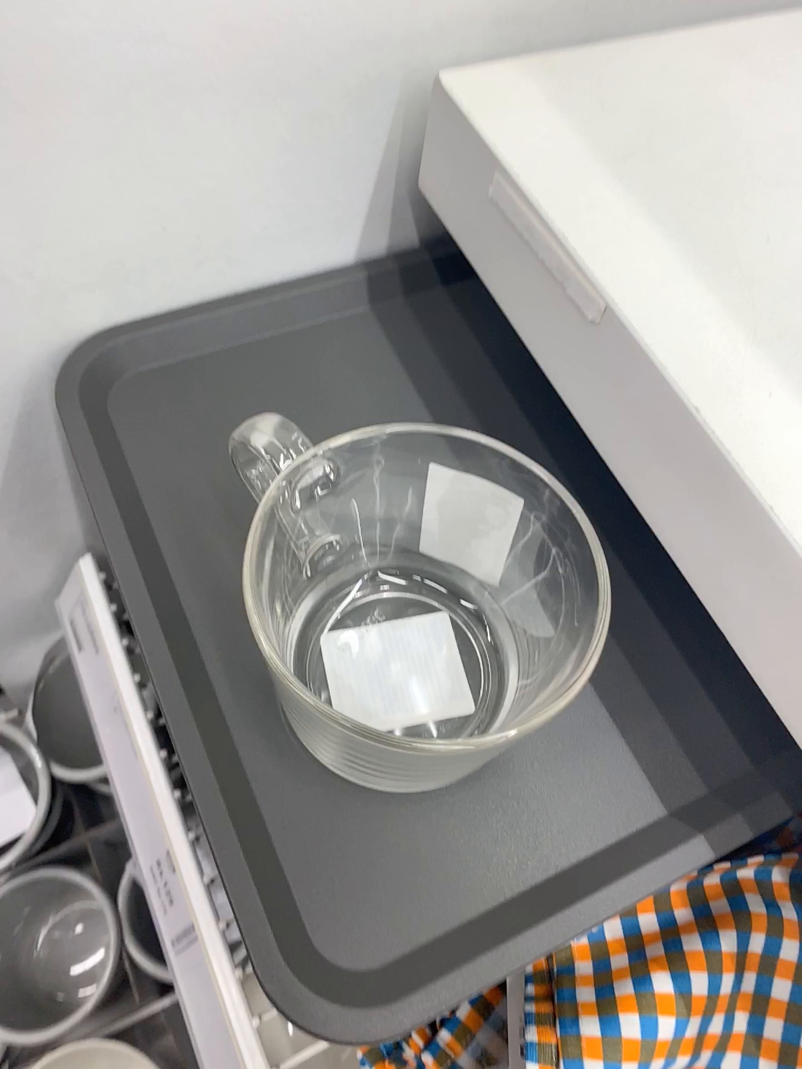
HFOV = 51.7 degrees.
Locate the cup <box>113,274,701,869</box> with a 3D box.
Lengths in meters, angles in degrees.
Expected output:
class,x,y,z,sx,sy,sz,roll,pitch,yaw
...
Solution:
class,x,y,z,sx,sy,sz,roll,pitch,yaw
cup,-0.005,0.009,0.253,0.100,0.080,0.130,-29,68,-22
